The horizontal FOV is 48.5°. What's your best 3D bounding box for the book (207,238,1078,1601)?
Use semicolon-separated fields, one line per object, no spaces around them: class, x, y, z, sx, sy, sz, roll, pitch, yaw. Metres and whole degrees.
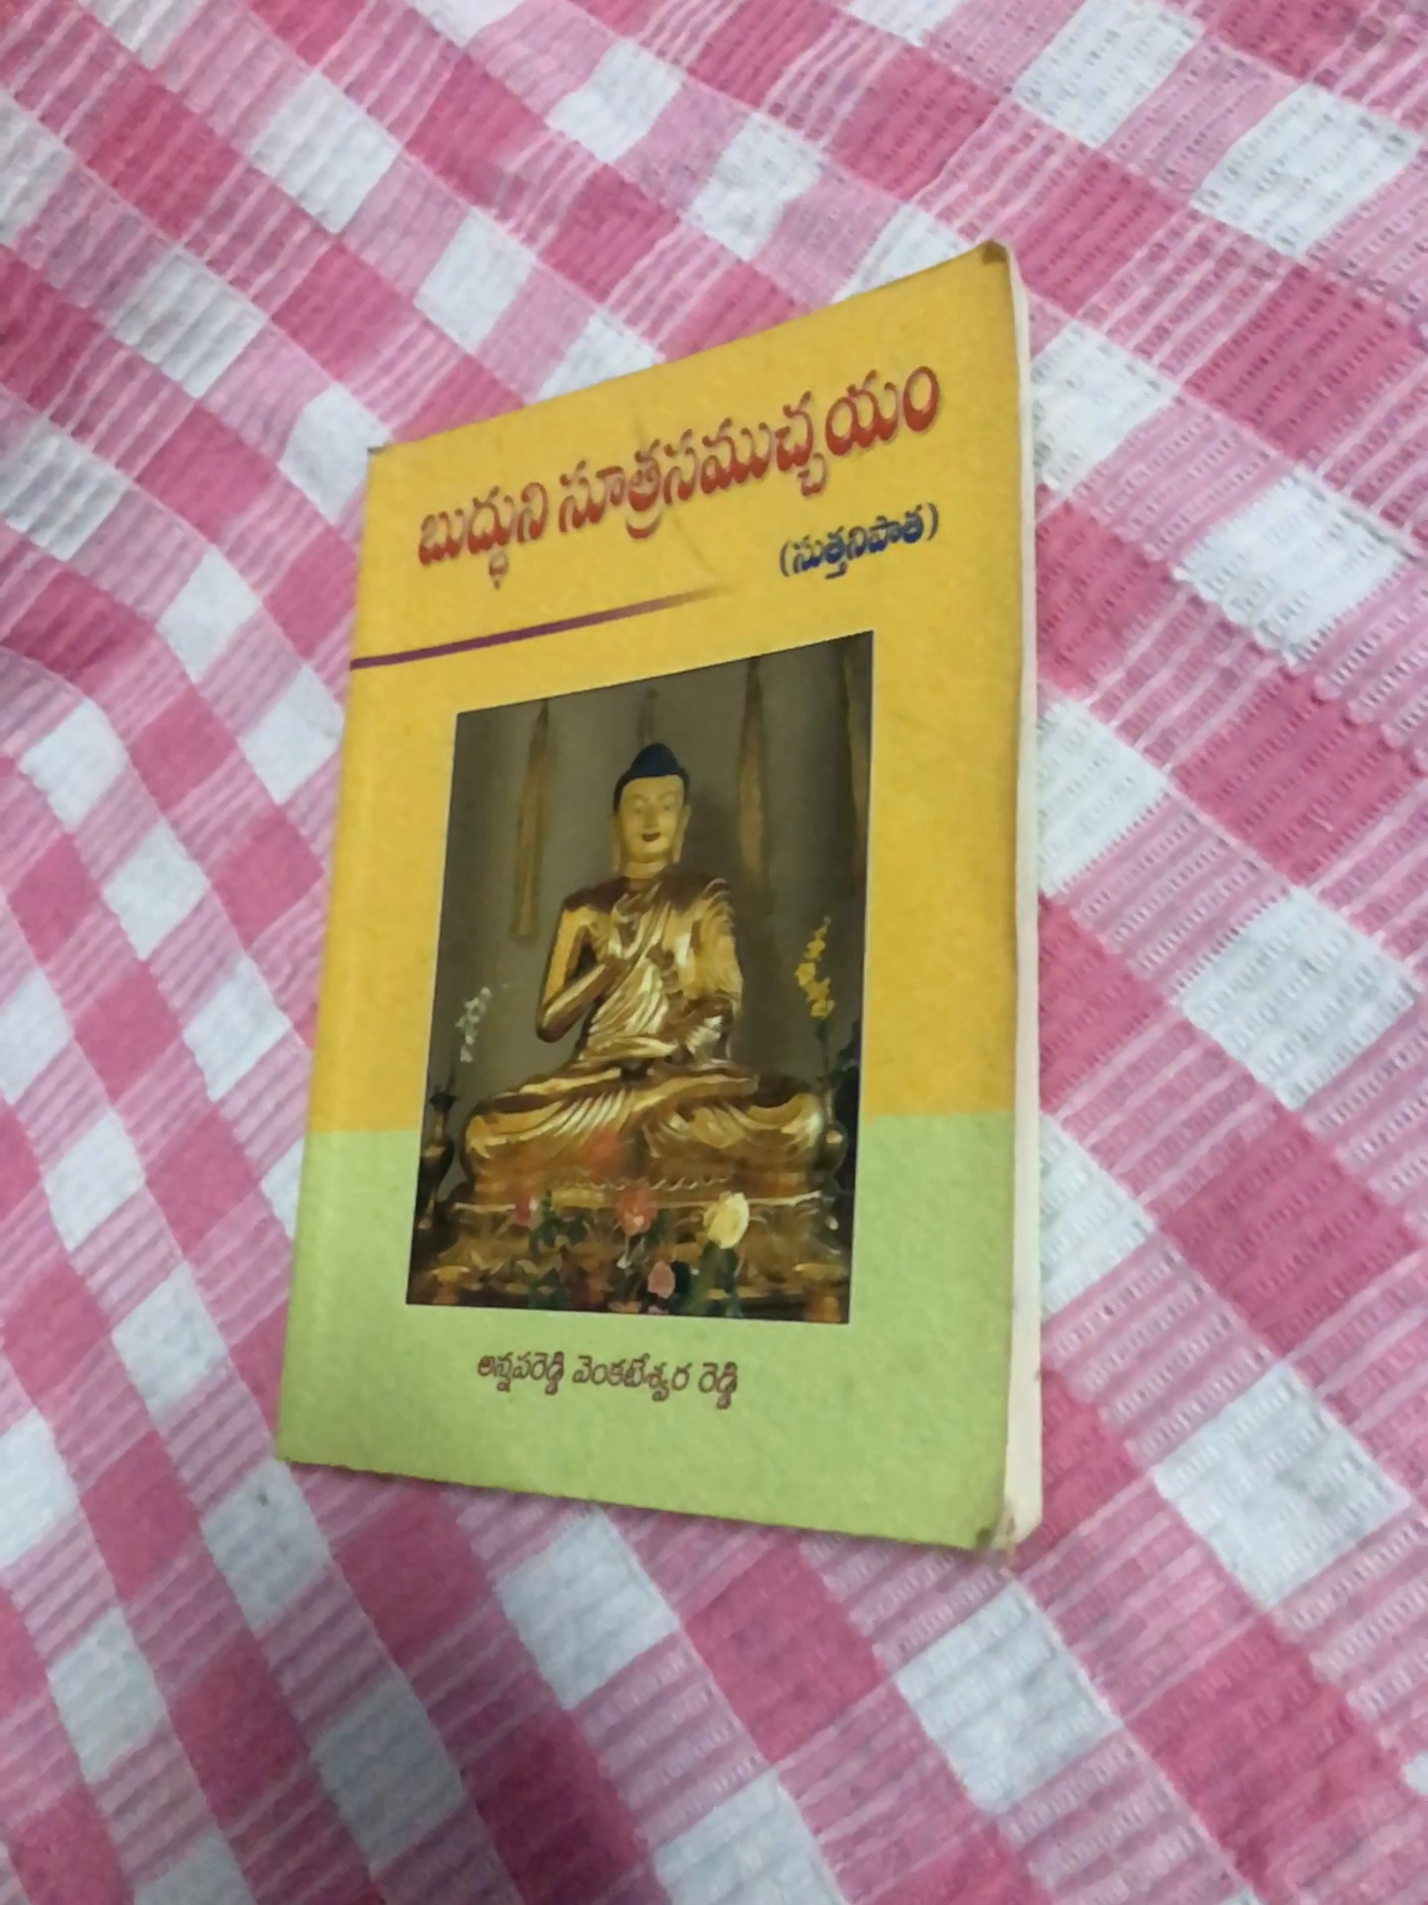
book;-0.013;-0.007;0.285;0.150;0.030;0.210;-5;73;30
